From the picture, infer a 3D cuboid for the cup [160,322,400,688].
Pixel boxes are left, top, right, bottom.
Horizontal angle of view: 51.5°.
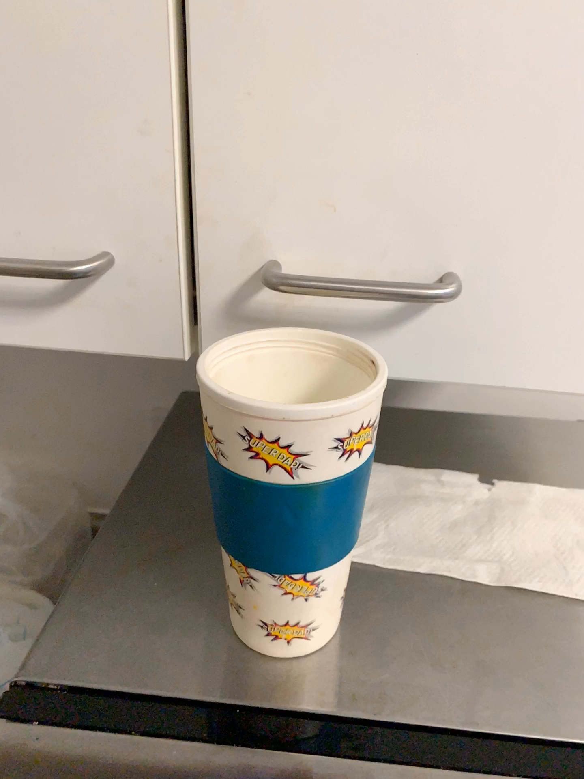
[{"bbox_3d":[-0.004,0.053,0.307,0.093,0.146,0.097,1,25,-1],"label":"cup"}]
